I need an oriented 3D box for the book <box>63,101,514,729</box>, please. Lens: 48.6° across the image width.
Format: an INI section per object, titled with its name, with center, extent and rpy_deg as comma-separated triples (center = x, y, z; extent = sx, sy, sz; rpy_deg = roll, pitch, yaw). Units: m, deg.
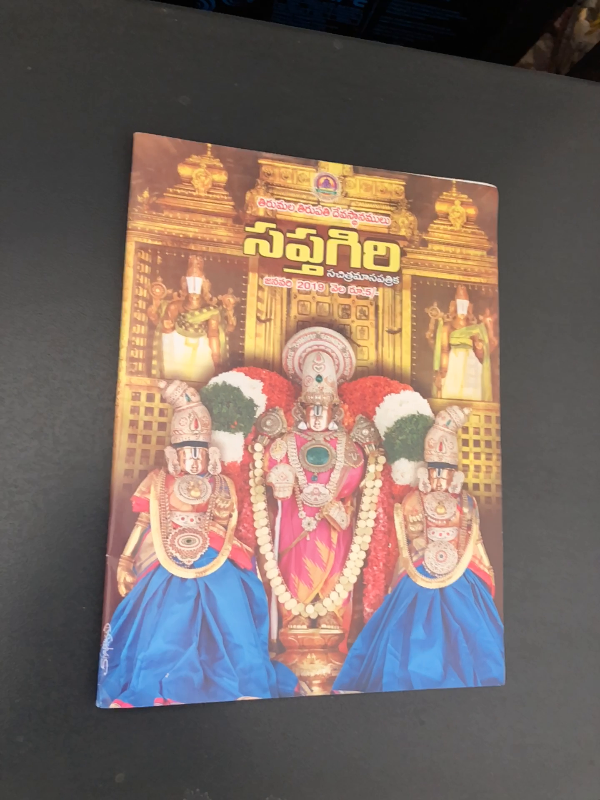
[book]
center = 0.002, 0.004, 0.321
extent = 0.200, 0.030, 0.270
rpy_deg = 3, 82, -13
